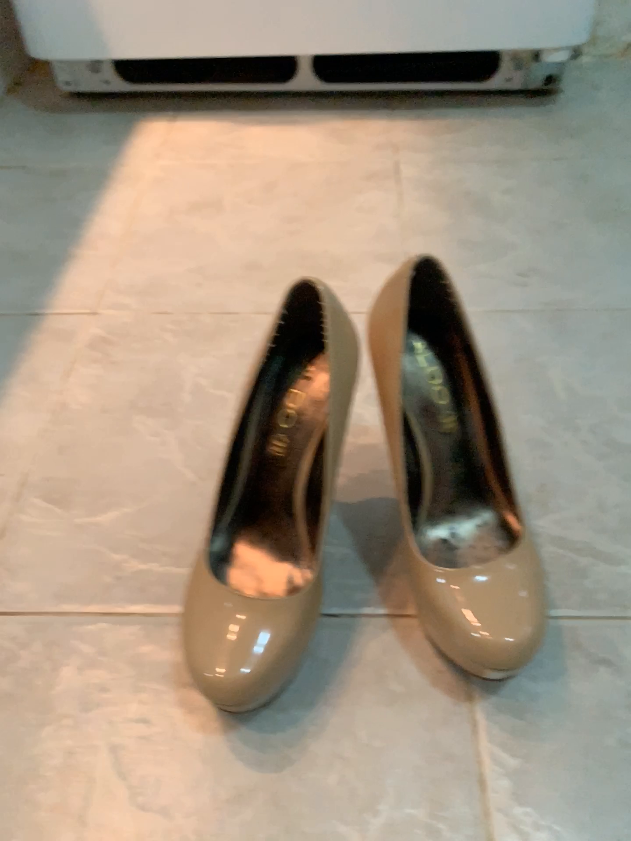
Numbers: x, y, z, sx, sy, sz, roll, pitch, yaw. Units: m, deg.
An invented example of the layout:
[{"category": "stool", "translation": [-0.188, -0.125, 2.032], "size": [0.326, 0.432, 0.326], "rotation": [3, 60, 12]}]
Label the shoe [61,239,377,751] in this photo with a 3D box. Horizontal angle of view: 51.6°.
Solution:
[{"category": "shoe", "translation": [-0.027, 0.036, 0.364], "size": [0.087, 0.176, 0.211], "rotation": [7, 47, 9]}]

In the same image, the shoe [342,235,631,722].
[{"category": "shoe", "translation": [0.079, 0.027, 0.374], "size": [0.087, 0.166, 0.211], "rotation": [-8, 47, -6]}]
